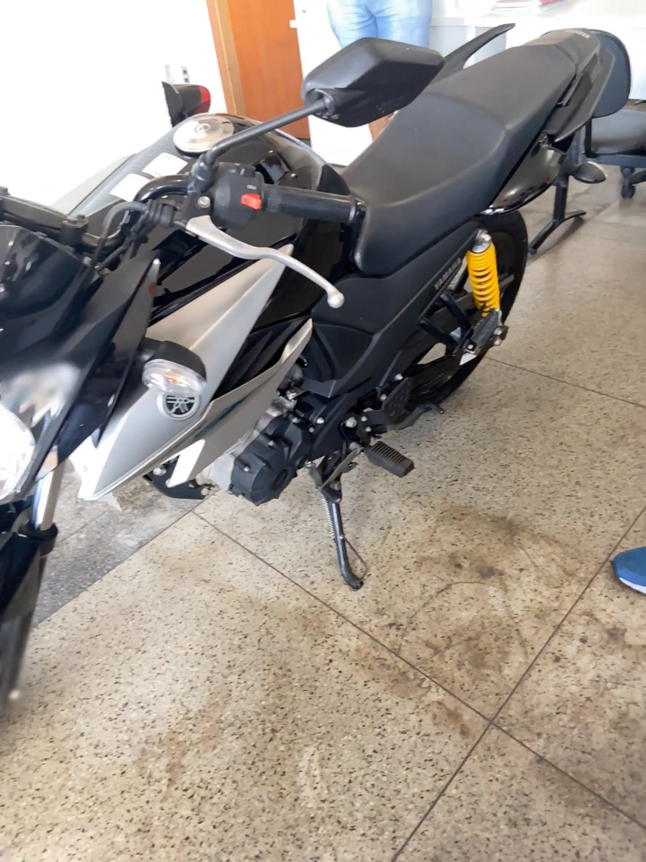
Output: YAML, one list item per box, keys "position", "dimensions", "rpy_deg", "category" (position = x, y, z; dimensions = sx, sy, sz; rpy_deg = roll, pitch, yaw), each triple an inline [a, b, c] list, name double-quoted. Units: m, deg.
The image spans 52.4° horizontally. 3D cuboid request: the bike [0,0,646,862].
- position: [0.084, -0.113, 1.175]
  dimensions: [0.817, 1.331, 2.010]
  rpy_deg: [19, 44, 33]
  category: "bike"
